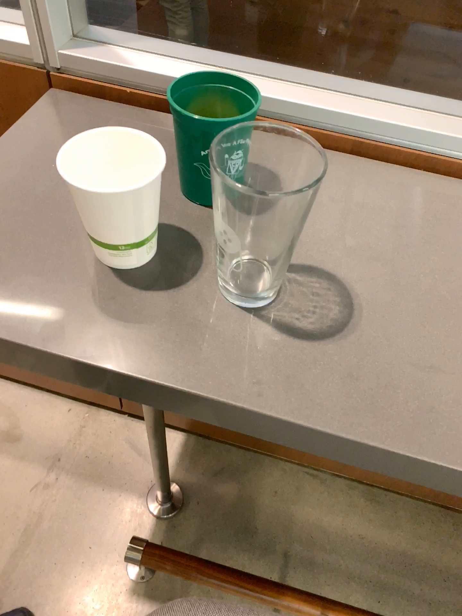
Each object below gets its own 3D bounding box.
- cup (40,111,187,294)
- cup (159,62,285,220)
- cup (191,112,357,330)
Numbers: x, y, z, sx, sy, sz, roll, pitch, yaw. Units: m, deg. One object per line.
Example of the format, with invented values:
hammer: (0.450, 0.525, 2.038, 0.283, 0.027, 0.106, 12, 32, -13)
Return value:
cup: (-0.101, -0.095, 0.427, 0.090, 0.110, 0.090, 3, 52, -3)
cup: (-0.014, -0.171, 0.487, 0.090, 0.110, 0.090, 3, 52, -3)
cup: (0.024, -0.068, 0.393, 0.090, 0.139, 0.090, 3, 52, -3)
